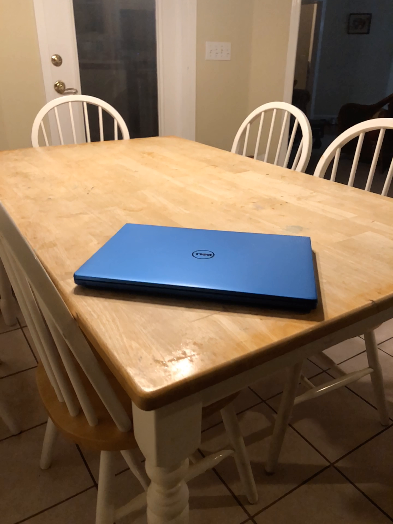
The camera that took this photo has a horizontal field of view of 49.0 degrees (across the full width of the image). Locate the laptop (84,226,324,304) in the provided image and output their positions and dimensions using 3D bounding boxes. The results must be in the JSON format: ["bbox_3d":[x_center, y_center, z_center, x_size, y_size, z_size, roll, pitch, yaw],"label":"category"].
[{"bbox_3d":[0.027,-0.008,0.800,0.388,0.001,0.260,5,26,10],"label":"laptop"}]
